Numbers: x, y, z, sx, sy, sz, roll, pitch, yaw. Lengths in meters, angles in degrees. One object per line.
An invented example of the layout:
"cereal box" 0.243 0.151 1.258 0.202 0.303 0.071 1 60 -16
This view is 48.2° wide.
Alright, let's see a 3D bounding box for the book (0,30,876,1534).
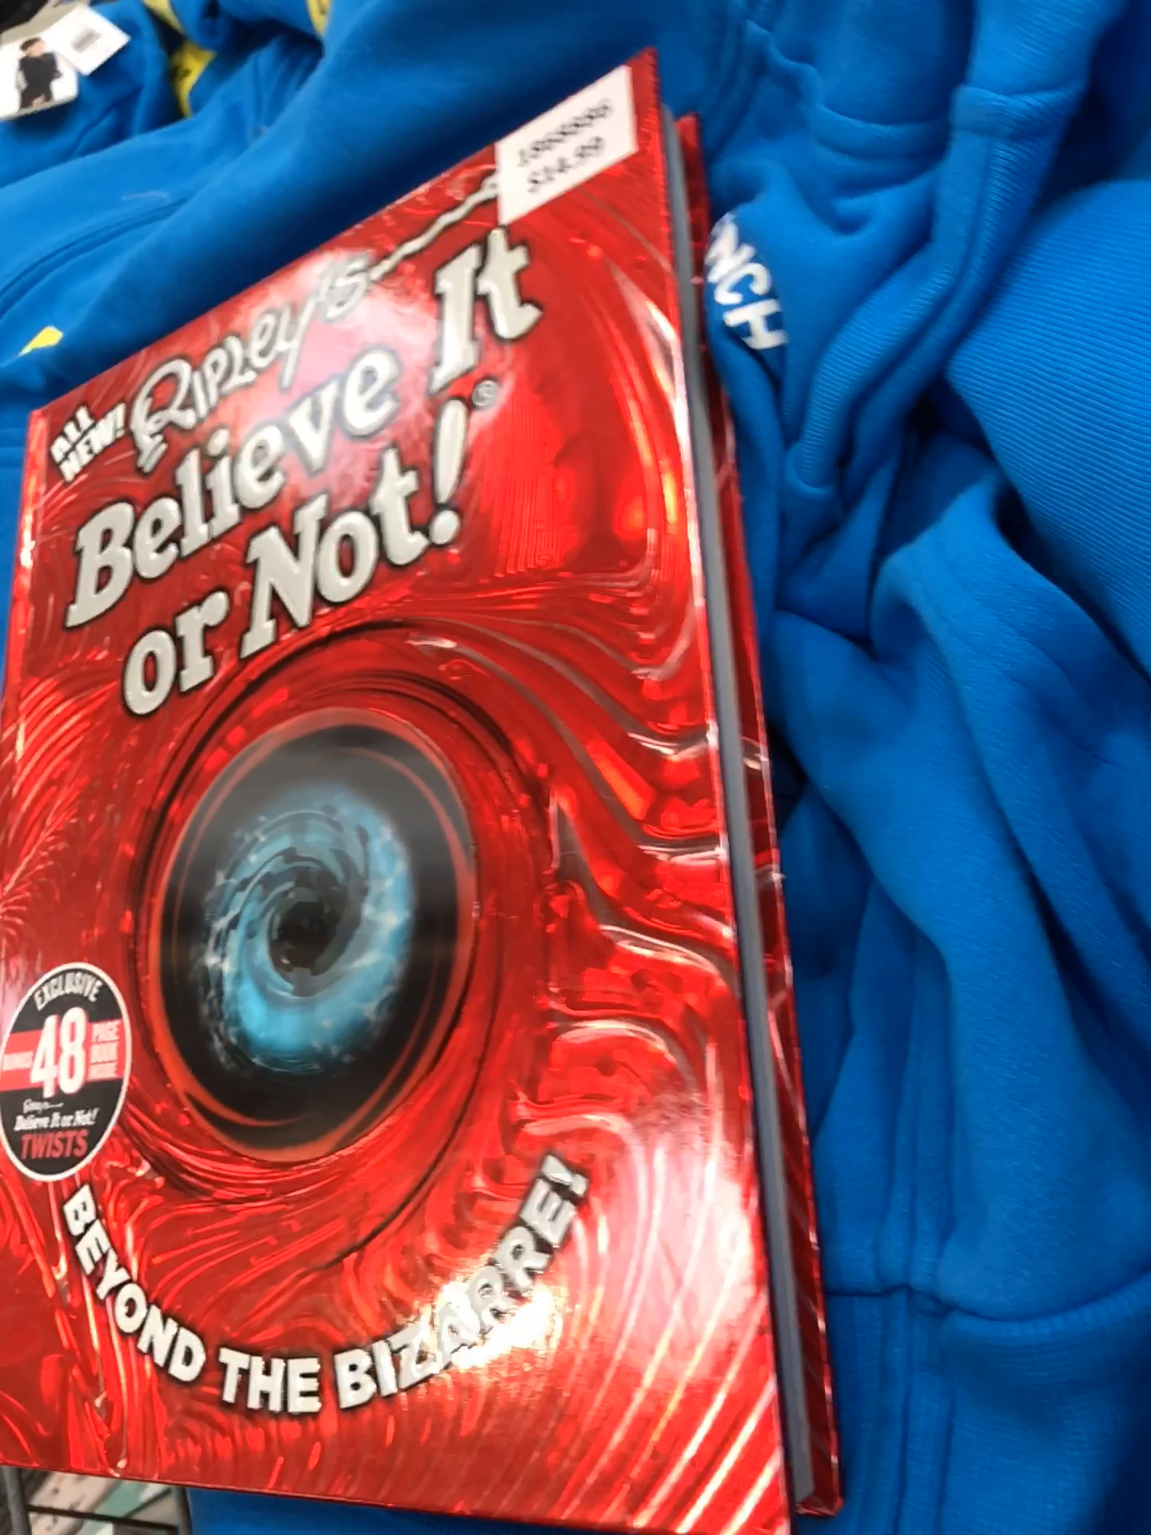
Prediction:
"book" -0.066 0.006 0.318 0.245 0.027 0.303 -14 69 31
